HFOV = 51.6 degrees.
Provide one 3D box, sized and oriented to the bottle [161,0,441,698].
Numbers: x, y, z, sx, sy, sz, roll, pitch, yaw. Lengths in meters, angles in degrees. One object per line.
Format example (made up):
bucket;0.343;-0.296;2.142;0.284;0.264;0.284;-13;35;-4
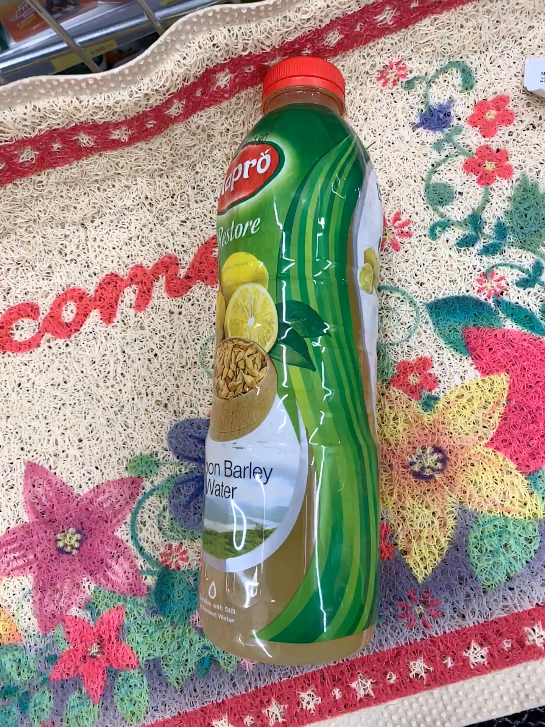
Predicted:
bottle;0.018;-0.019;0.257;0.080;0.090;0.270;-6;79;39
